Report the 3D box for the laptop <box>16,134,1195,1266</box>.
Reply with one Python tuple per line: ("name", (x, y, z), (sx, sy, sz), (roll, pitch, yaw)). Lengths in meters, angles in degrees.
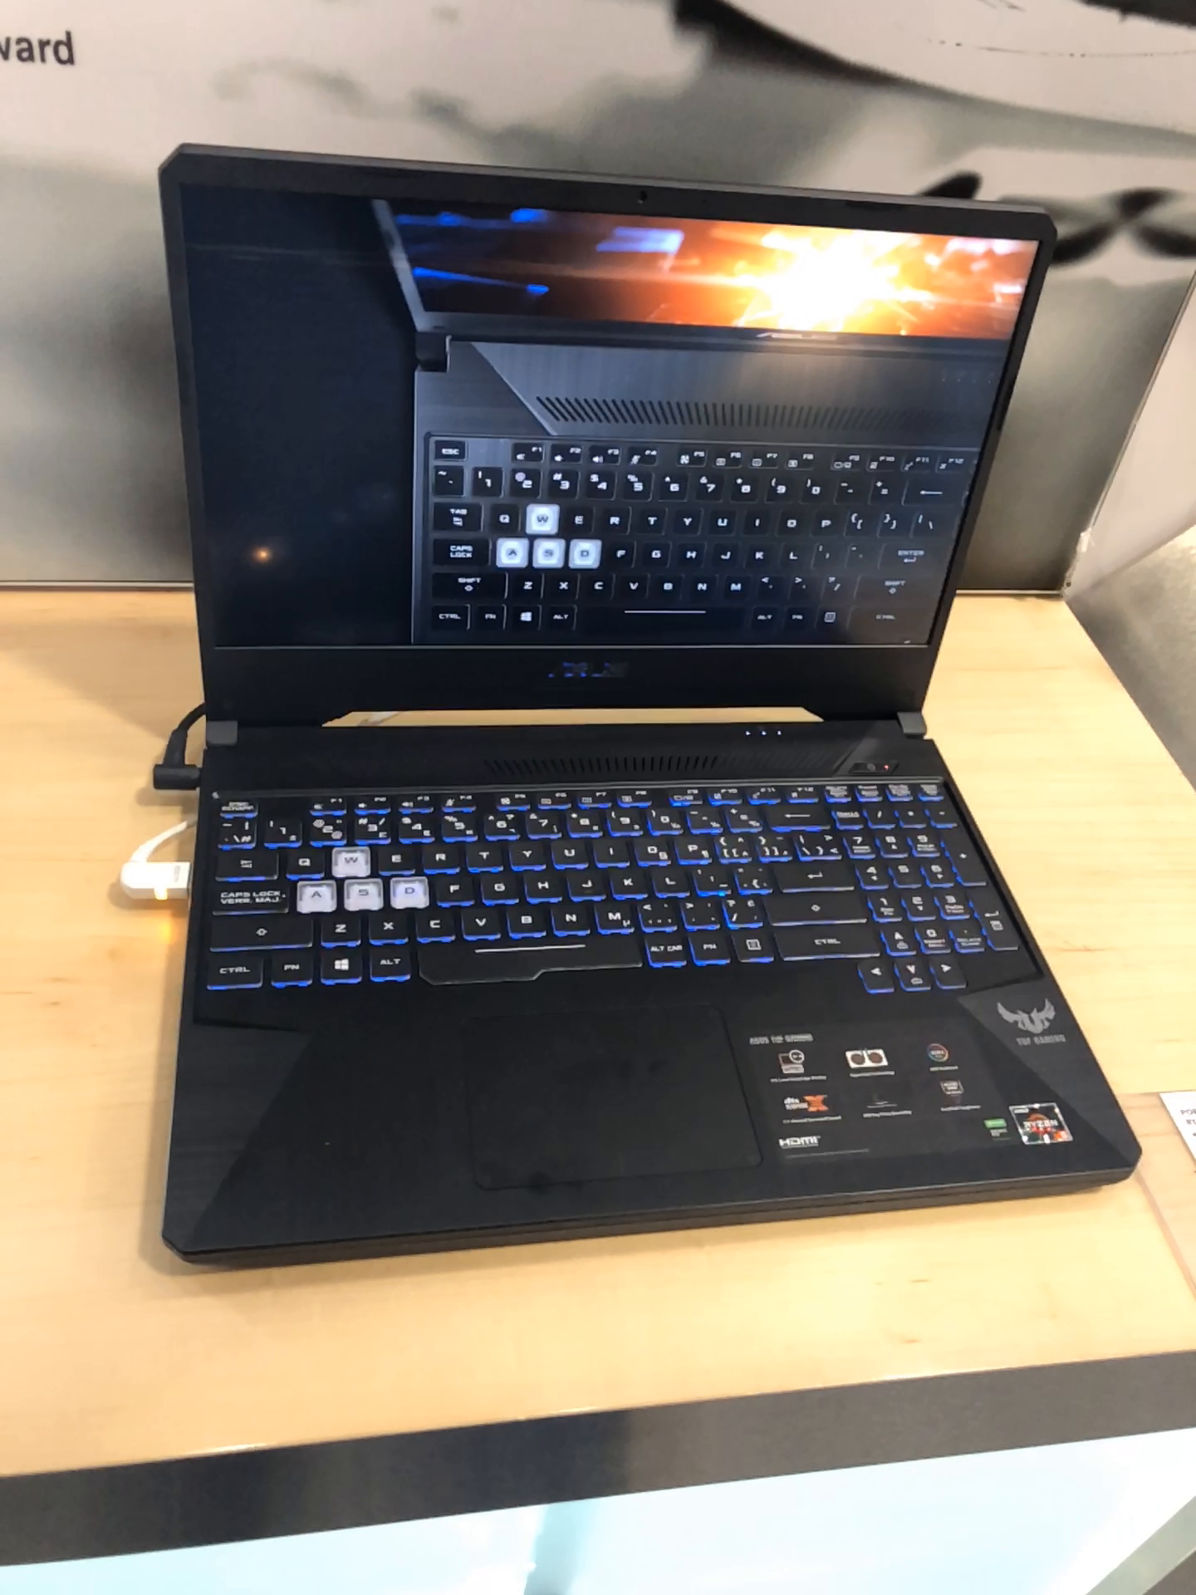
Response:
("laptop", (0.021, -0.050, 0.490), (0.359, 0.245, 0.310), (-2, 44, -12))
